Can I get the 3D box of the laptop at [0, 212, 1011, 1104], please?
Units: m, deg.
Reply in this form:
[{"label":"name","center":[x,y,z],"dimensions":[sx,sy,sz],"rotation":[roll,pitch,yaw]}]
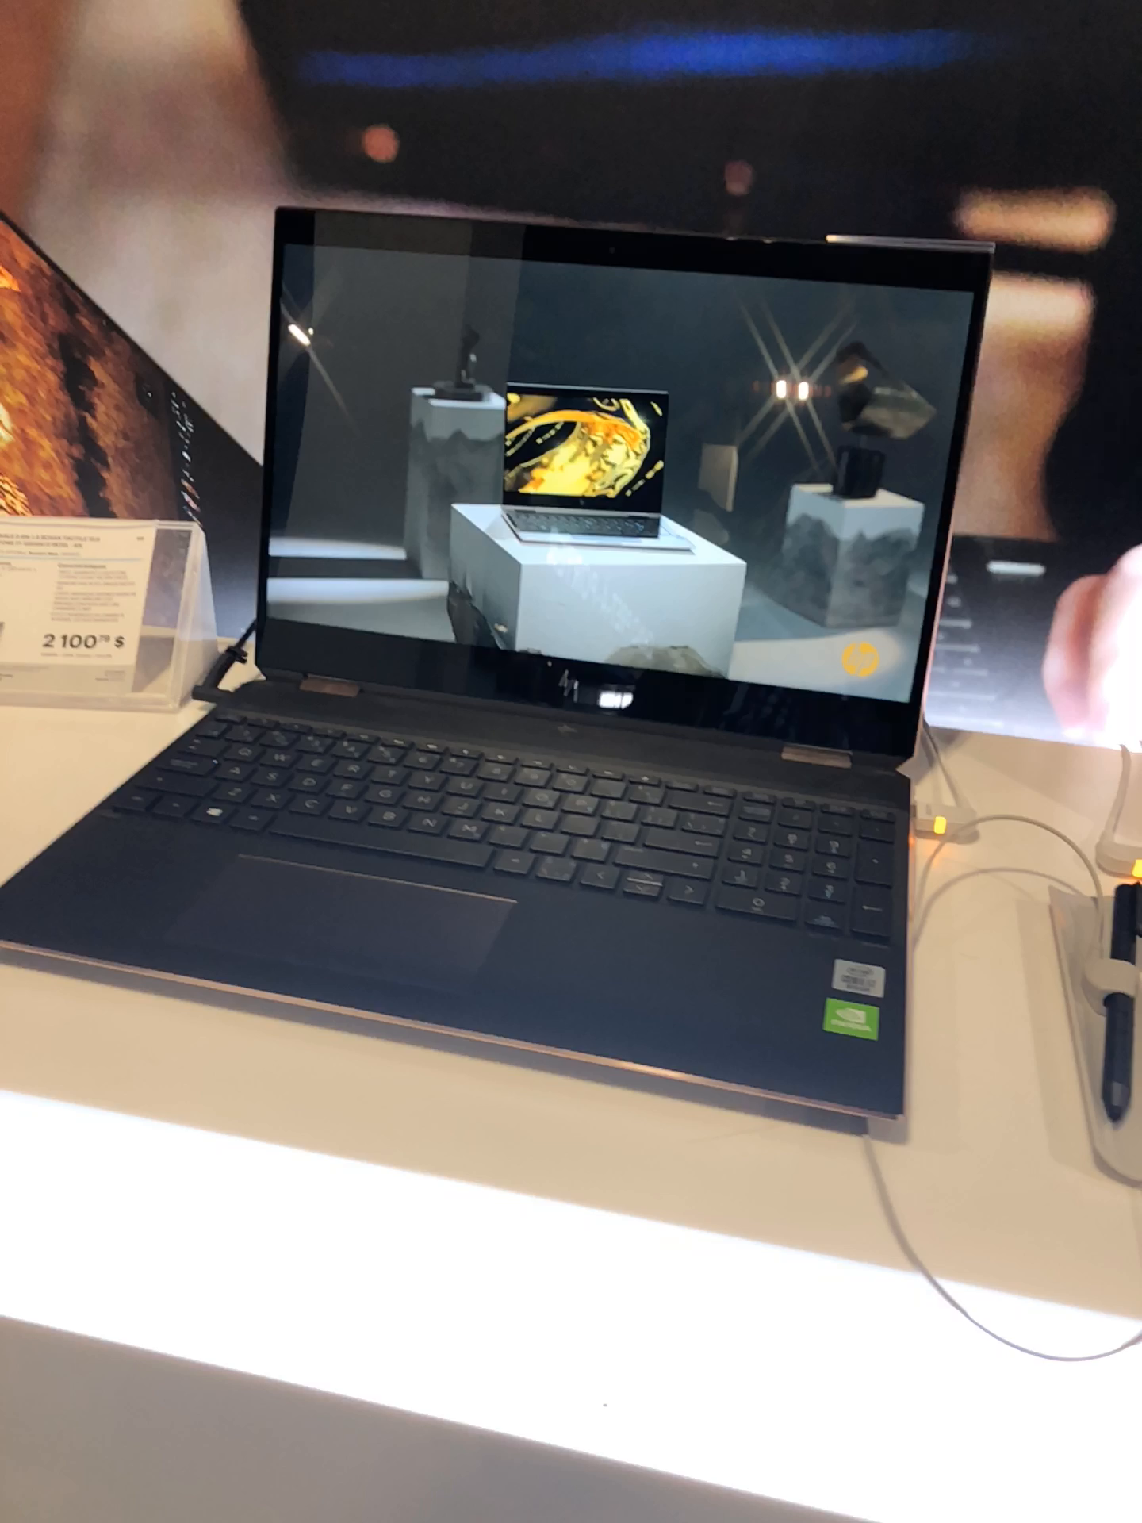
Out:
[{"label":"laptop","center":[-0.024,-0.084,0.525],"dimensions":[0.333,0.226,0.323],"rotation":[9,27,9]}]
